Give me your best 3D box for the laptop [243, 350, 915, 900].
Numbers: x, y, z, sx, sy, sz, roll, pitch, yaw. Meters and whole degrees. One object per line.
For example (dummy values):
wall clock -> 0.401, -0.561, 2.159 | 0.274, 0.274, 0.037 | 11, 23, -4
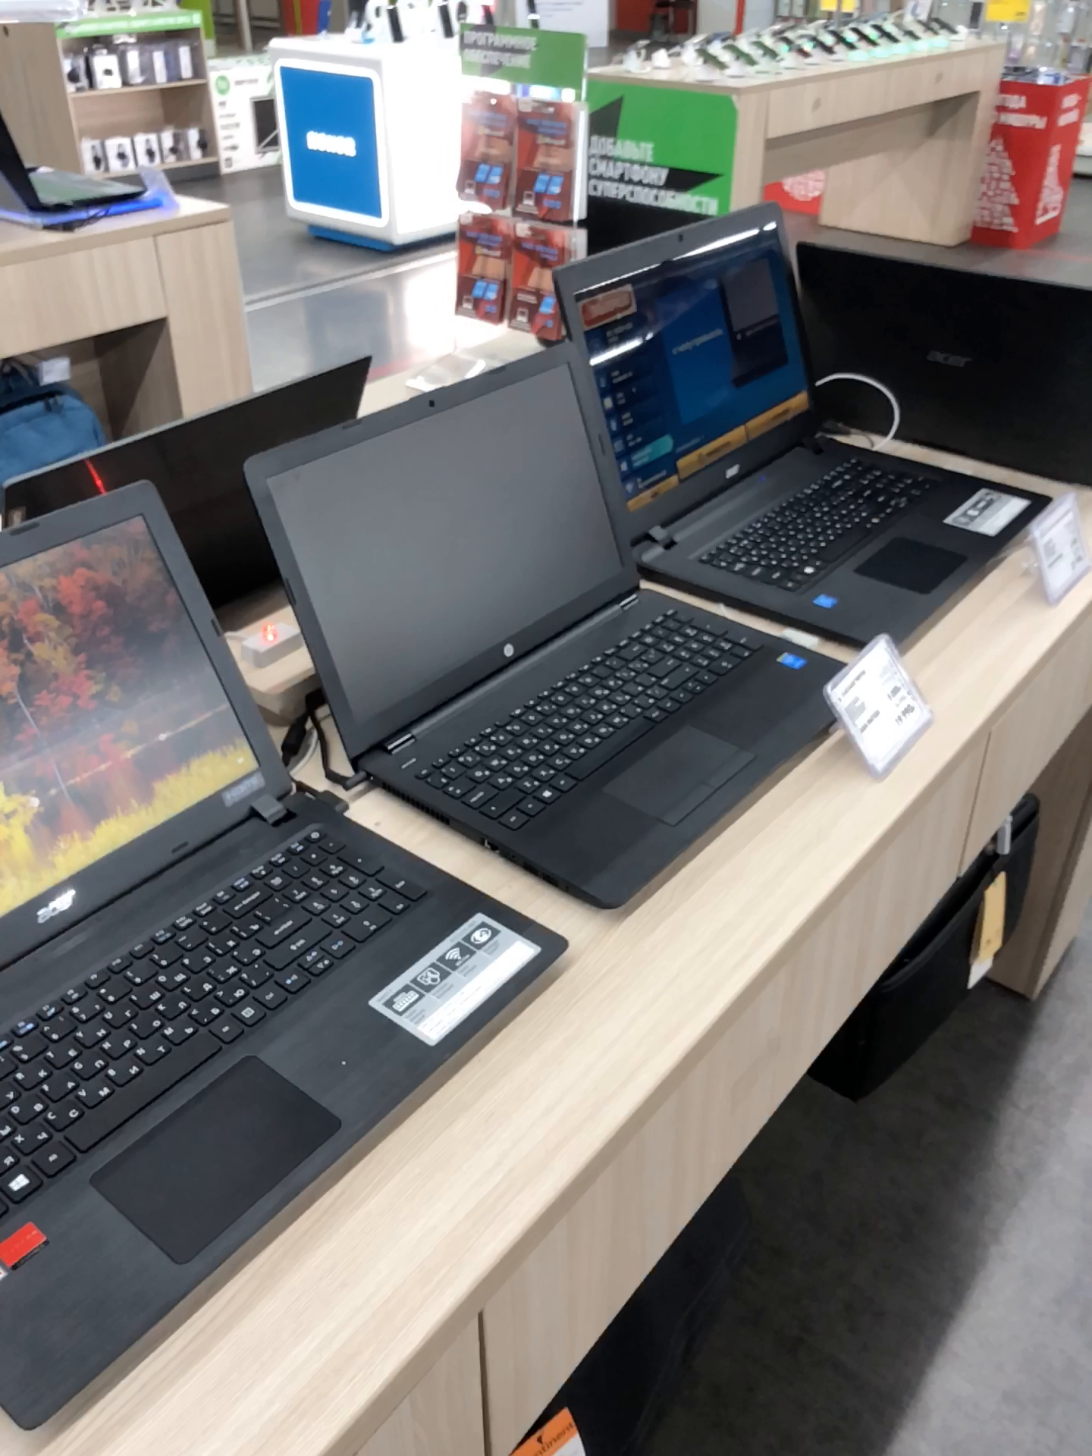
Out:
laptop -> 0.036, -0.115, 0.961 | 0.334, 0.215, 0.378 | 25, 41, 30

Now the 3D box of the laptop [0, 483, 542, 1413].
laptop -> -0.236, 0.063, 0.686 | 0.350, 0.226, 0.360 | 23, 39, 31

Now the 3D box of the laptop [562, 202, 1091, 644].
laptop -> 0.288, -0.347, 1.253 | 0.395, 0.267, 0.398 | 24, 41, 33
